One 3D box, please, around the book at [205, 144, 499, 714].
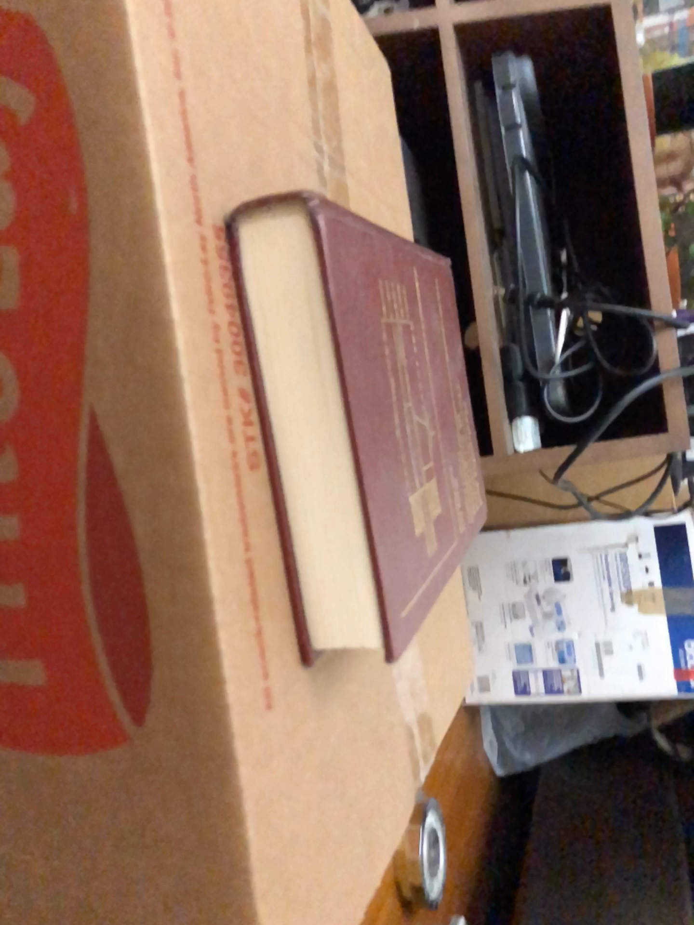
[{"bbox_3d":[0.024,-0.022,0.371,0.241,0.040,0.190,-22,103,-70],"label":"book"}]
